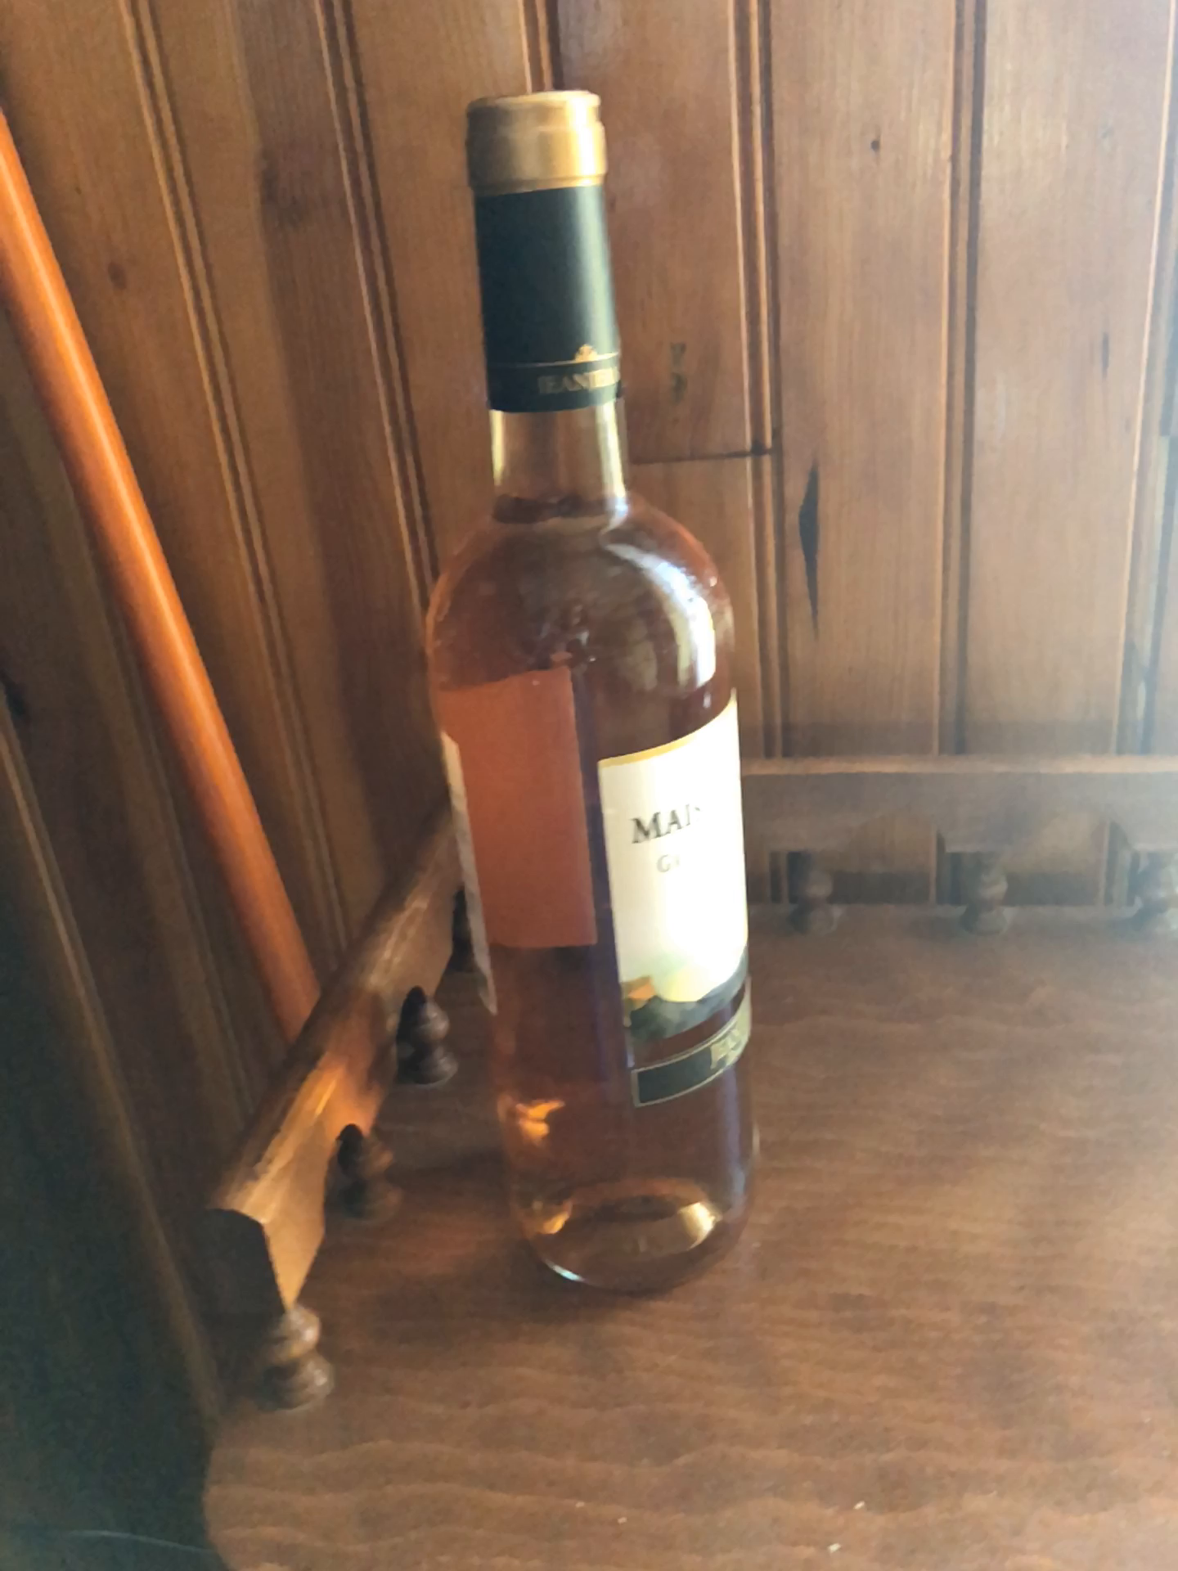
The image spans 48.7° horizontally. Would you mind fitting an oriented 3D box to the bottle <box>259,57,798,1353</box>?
[{"bbox_3d":[0.002,-0.007,0.314,0.070,0.288,0.080,8,29,25],"label":"bottle"}]
